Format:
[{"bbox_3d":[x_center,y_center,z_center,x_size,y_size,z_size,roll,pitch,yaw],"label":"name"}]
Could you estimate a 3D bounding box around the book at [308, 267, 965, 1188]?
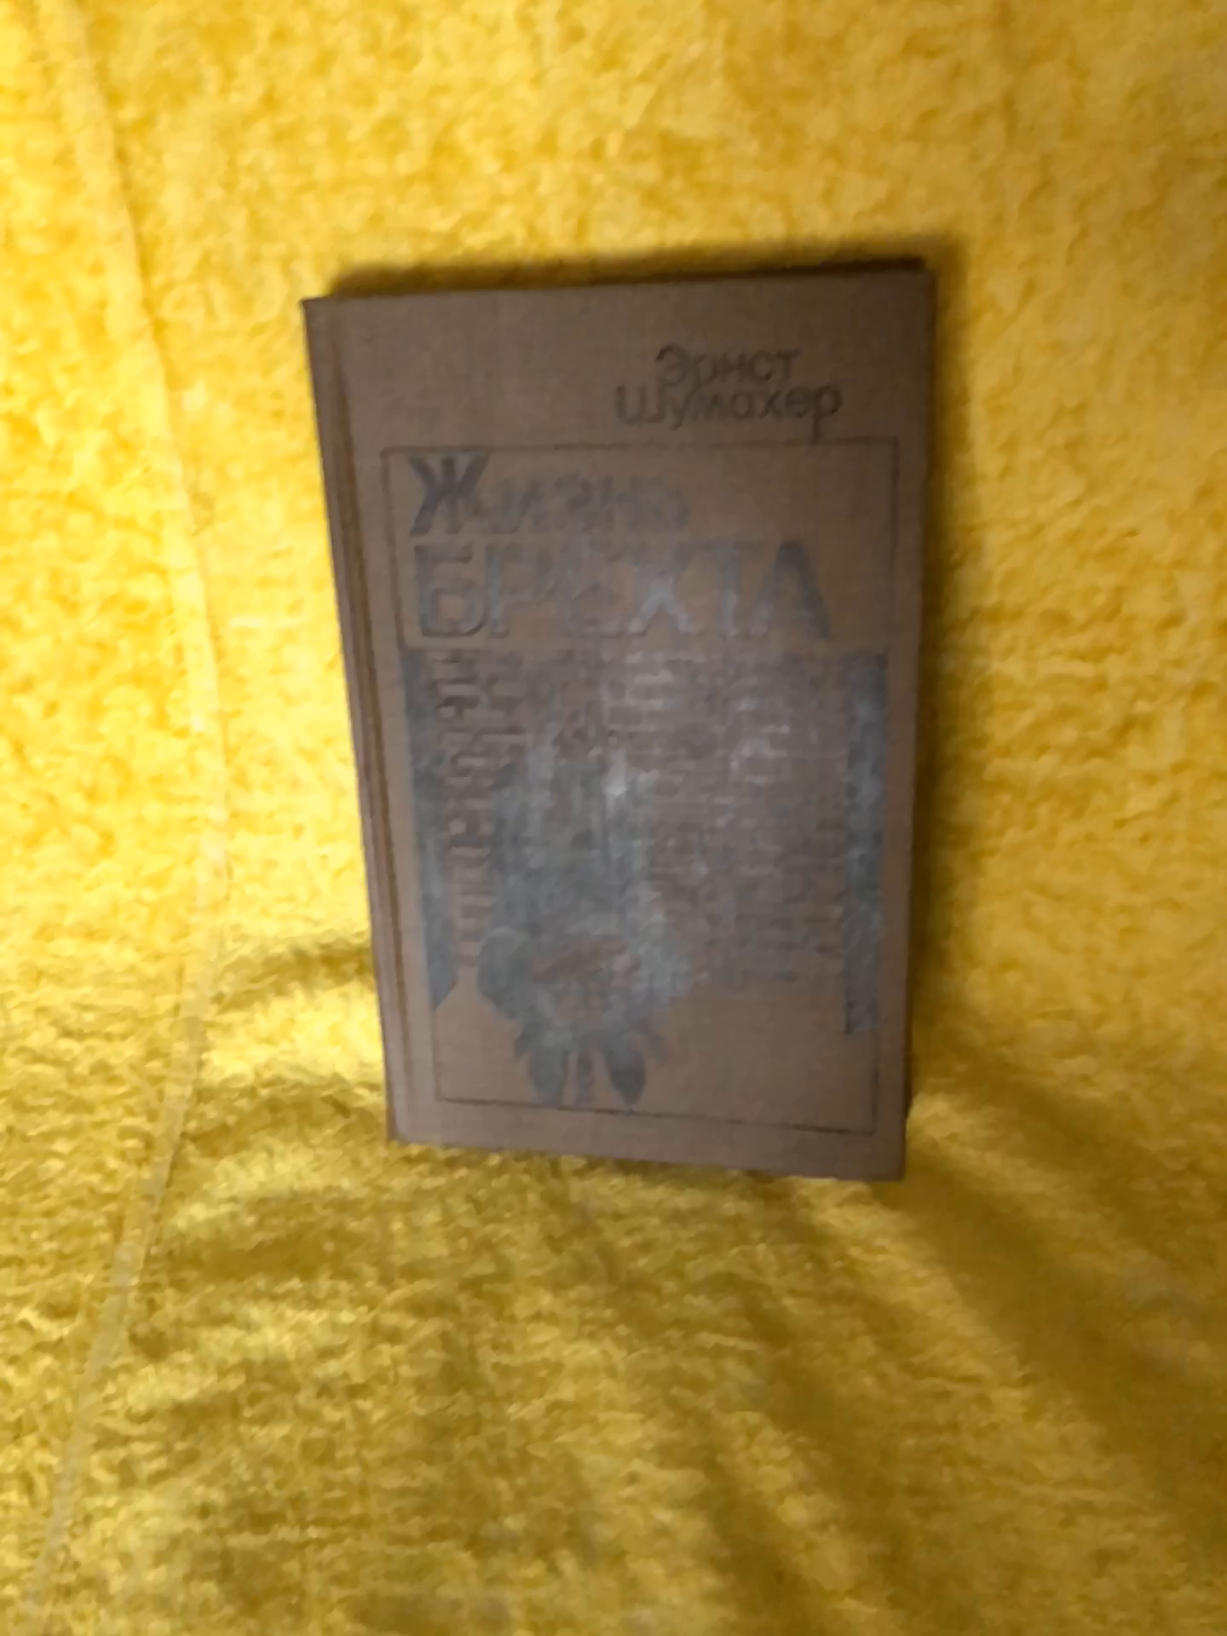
[{"bbox_3d":[0.007,-0.016,0.312,0.130,0.200,0.033,2,19,10],"label":"book"}]
